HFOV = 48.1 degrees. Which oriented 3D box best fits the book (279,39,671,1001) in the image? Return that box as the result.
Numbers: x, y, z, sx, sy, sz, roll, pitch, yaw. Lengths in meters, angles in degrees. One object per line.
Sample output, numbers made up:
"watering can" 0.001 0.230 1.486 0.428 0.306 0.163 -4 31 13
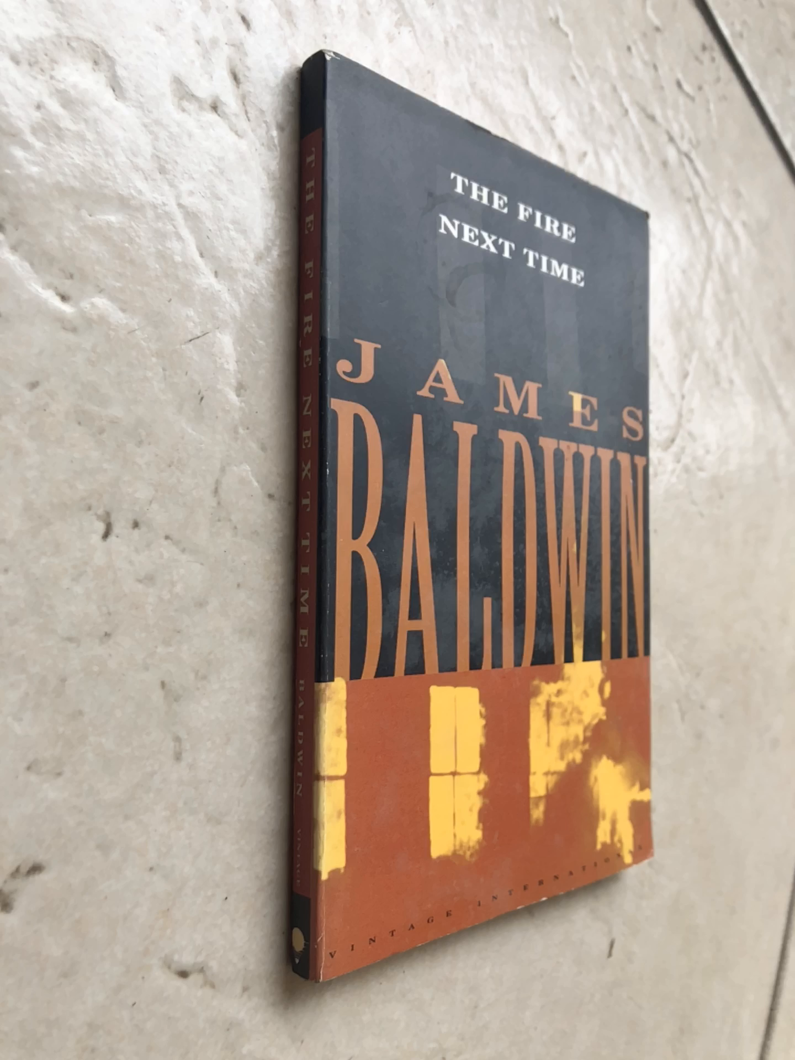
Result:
"book" 0.028 -0.002 0.235 0.131 0.016 0.200 4 85 -43
